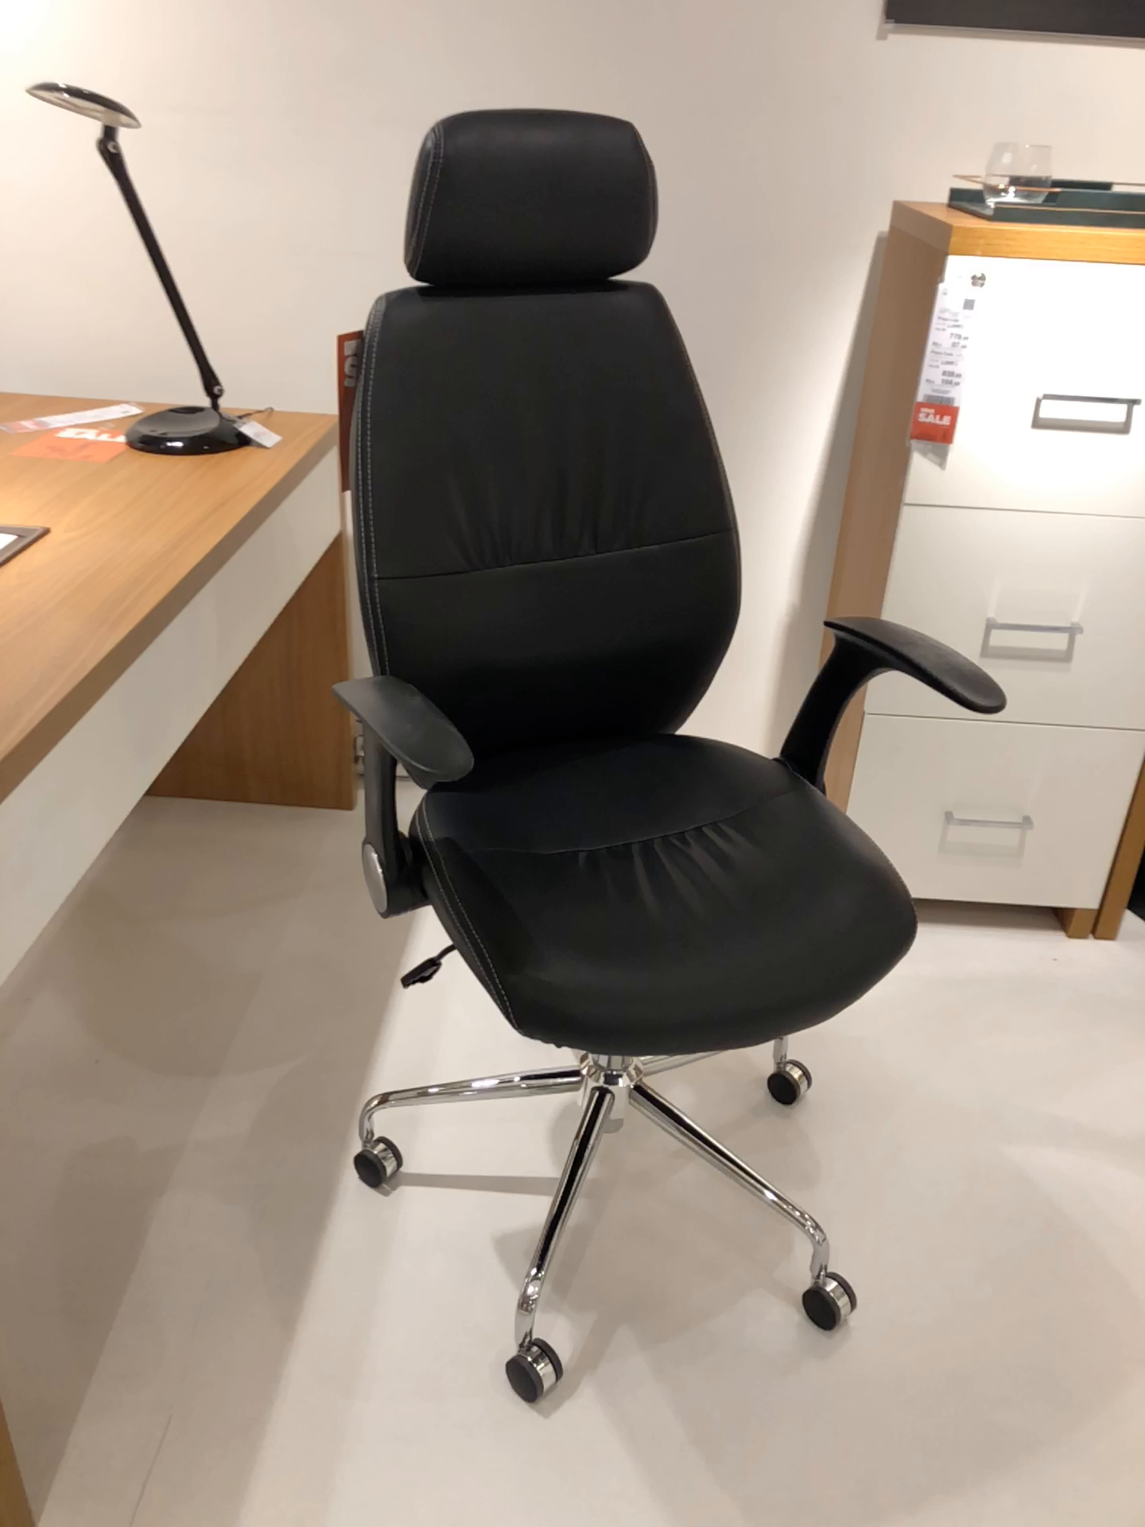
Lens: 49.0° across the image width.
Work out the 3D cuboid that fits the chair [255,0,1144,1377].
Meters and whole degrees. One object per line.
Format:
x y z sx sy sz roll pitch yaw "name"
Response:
0.072 -0.098 1.459 0.691 1.299 0.715 -8 34 -21 "chair"
